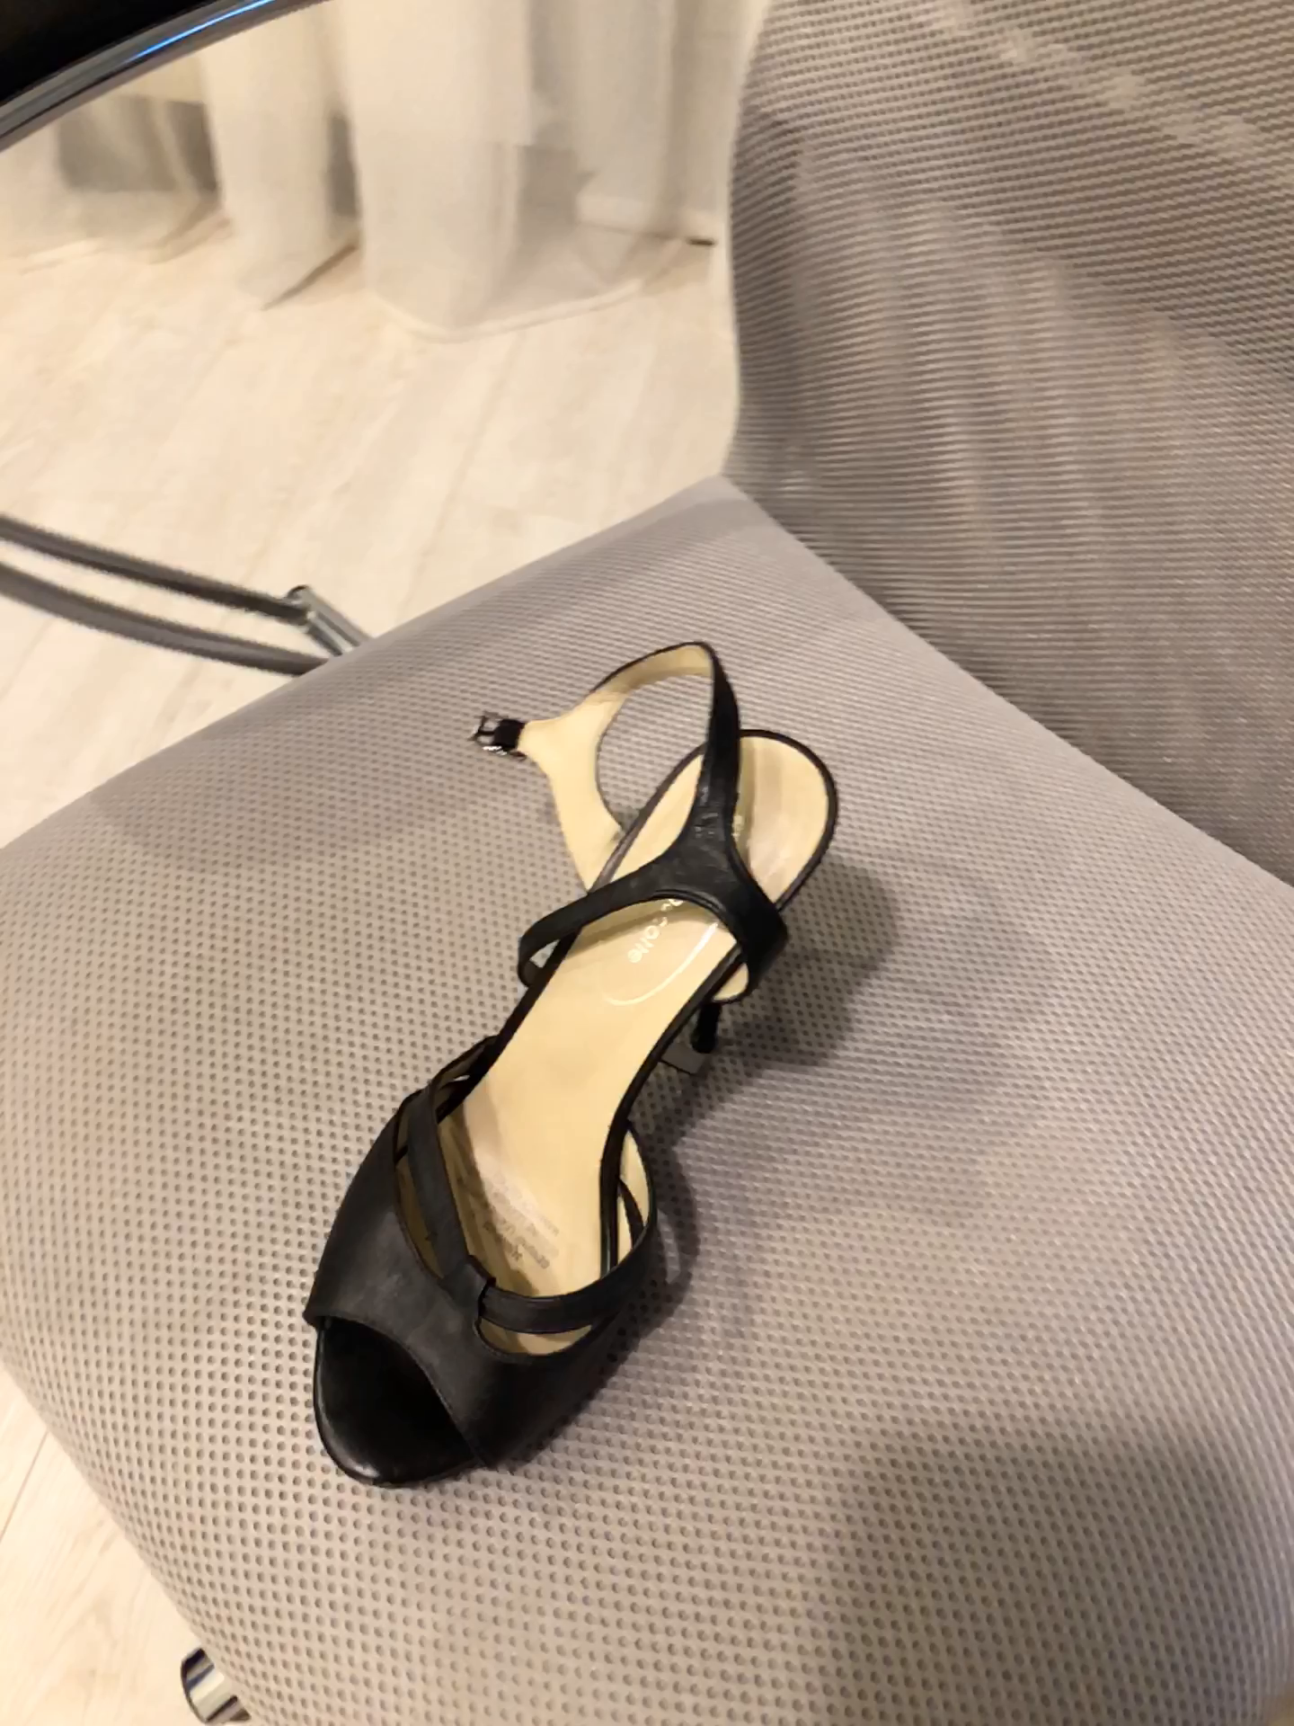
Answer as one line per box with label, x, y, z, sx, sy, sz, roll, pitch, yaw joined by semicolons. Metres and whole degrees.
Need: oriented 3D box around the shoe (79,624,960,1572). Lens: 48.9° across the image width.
shoe;-0.020;0.056;0.382;0.090;0.119;0.211;33;59;21
